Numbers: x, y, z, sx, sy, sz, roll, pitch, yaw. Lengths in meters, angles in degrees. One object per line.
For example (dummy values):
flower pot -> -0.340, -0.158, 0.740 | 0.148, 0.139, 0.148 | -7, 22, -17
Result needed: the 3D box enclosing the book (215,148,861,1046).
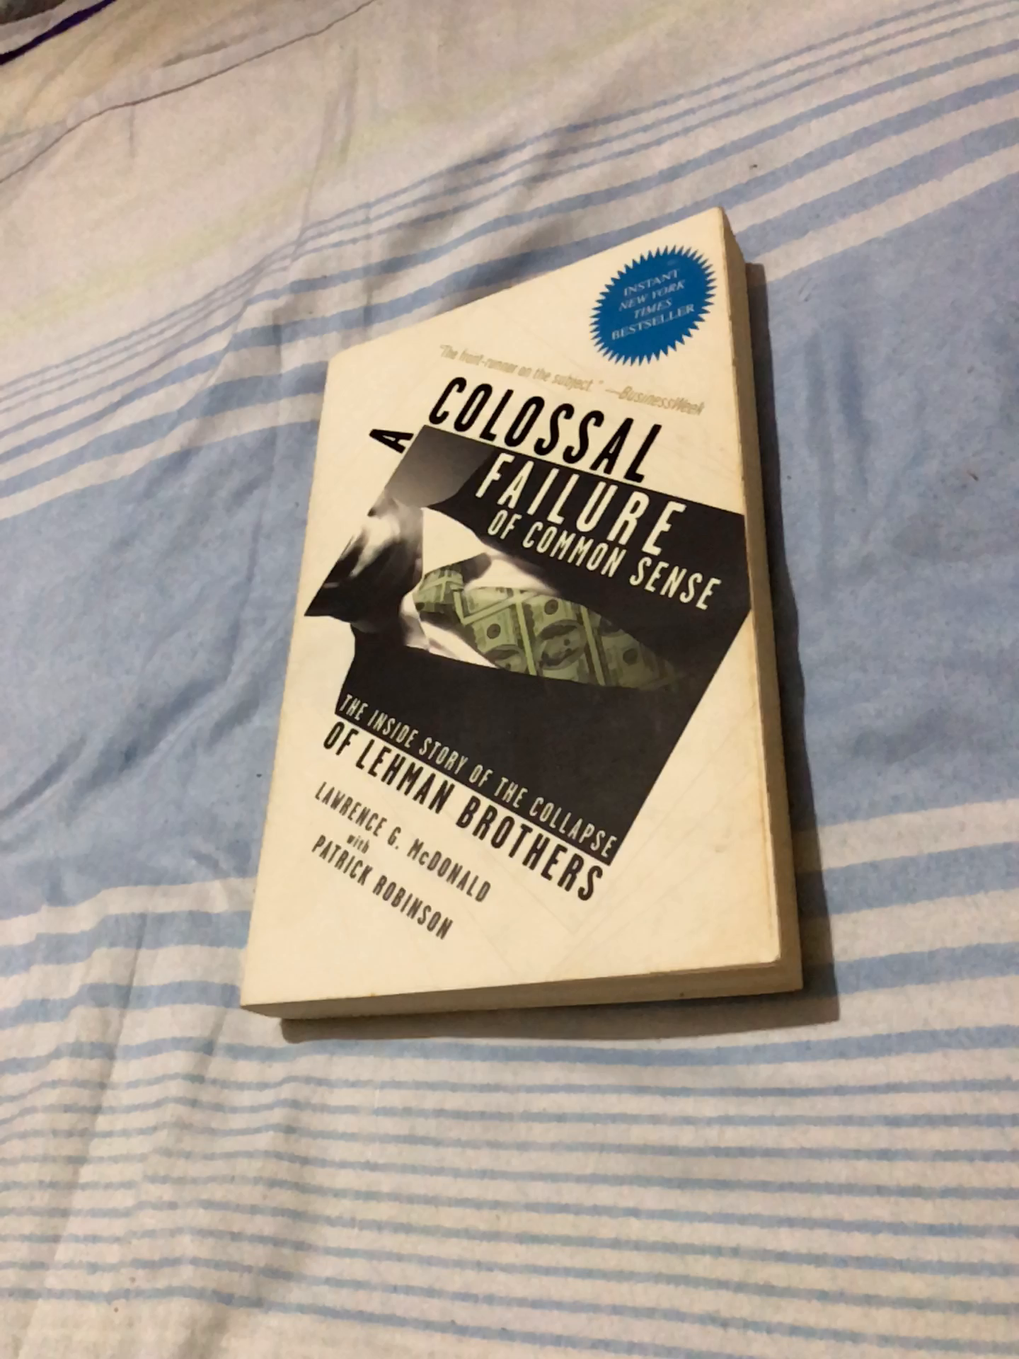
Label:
book -> 0.005, -0.023, 0.302 | 0.140, 0.040, 0.220 | -12, 61, 25
